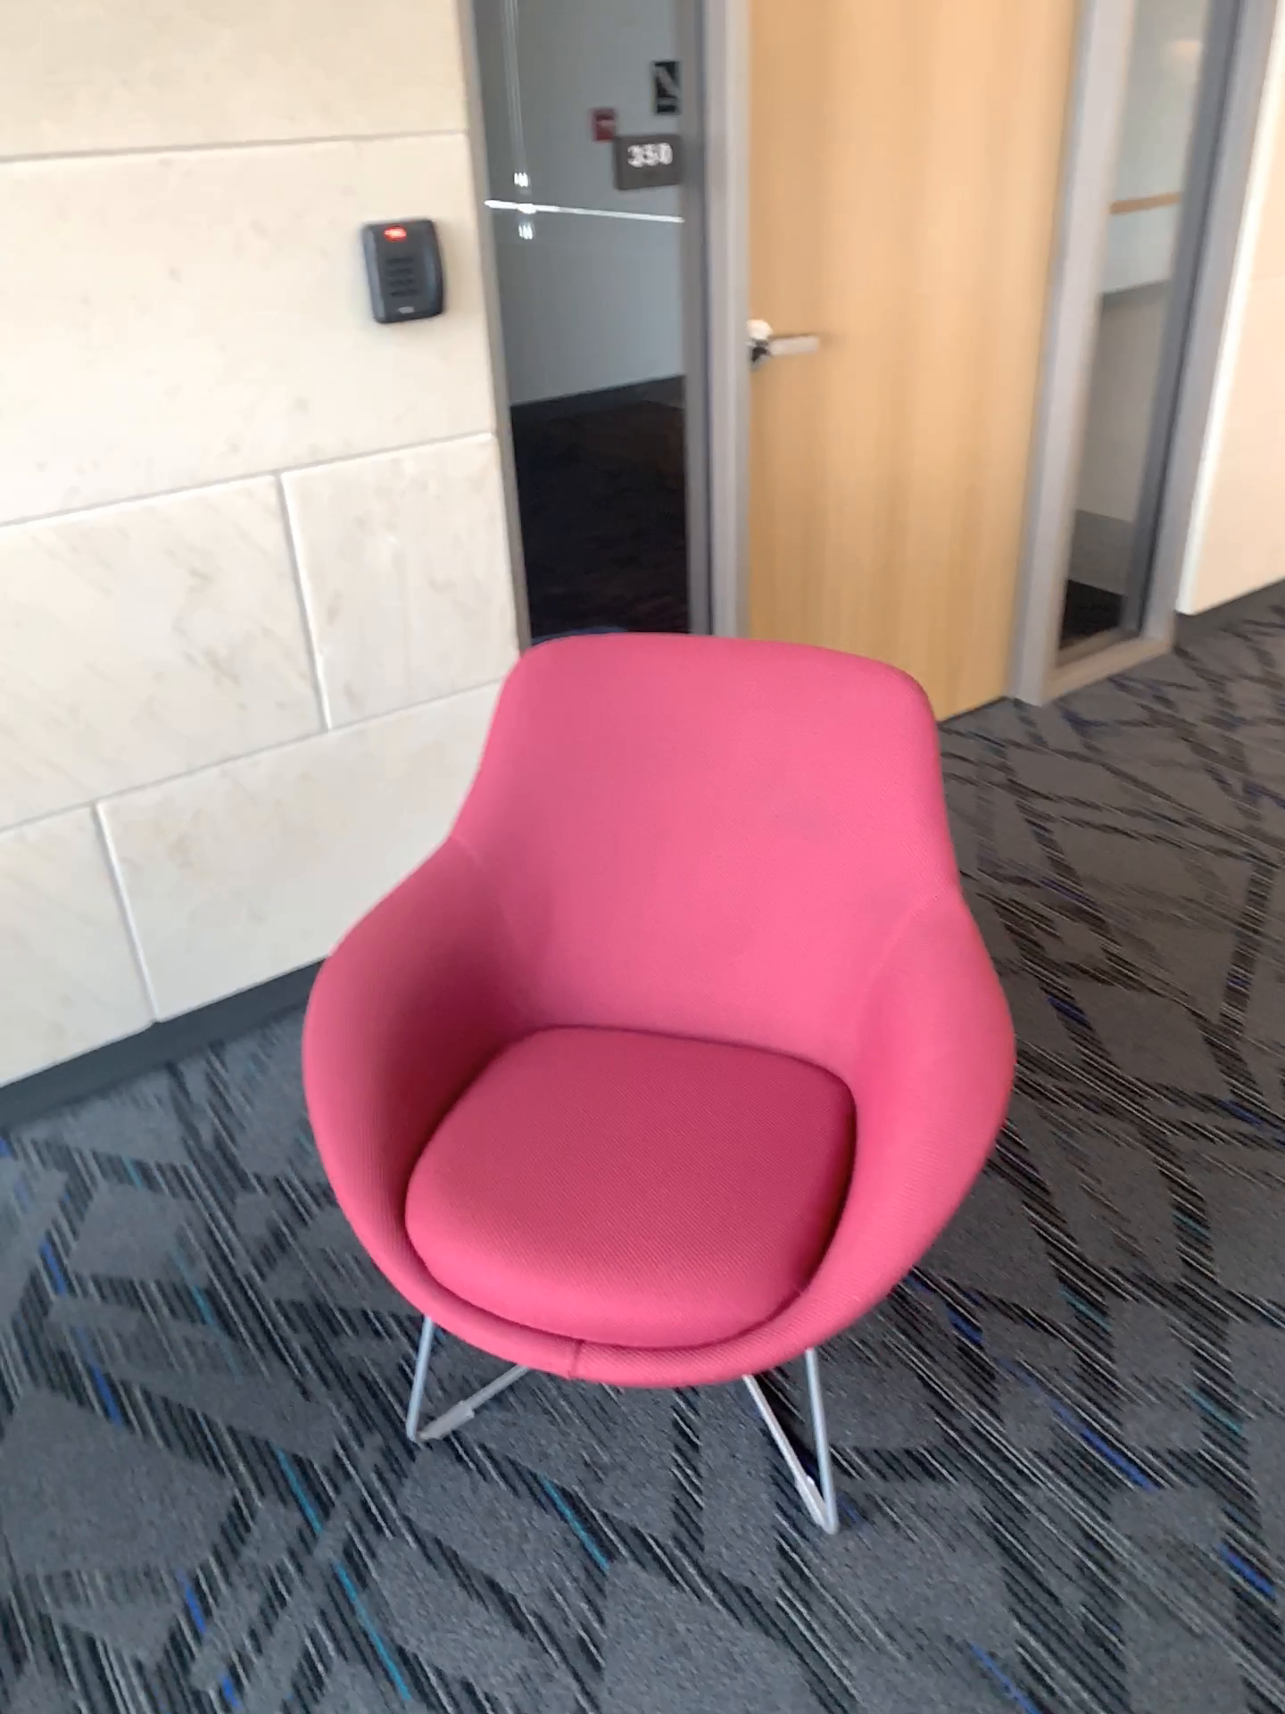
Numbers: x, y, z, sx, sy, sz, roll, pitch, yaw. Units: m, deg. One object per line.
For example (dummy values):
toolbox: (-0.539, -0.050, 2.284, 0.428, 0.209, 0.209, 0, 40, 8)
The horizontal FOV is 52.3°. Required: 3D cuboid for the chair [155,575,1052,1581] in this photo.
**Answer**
chair: (0.034, 0.178, 1.415, 0.690, 0.754, 0.615, 6, 31, 15)
